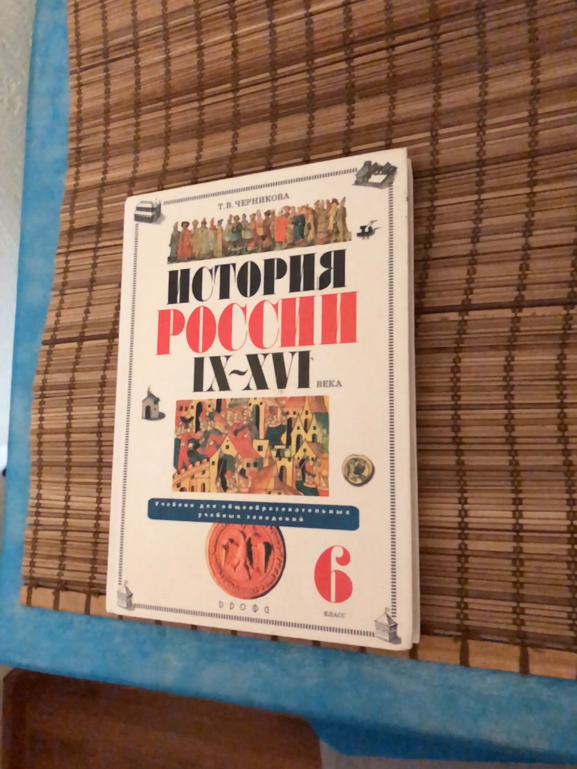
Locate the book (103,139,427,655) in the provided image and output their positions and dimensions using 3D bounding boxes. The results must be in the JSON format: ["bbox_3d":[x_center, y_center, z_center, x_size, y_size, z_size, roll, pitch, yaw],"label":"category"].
[{"bbox_3d":[-0.015,0.004,0.341,0.170,0.029,0.240,-2,81,24],"label":"book"}]
